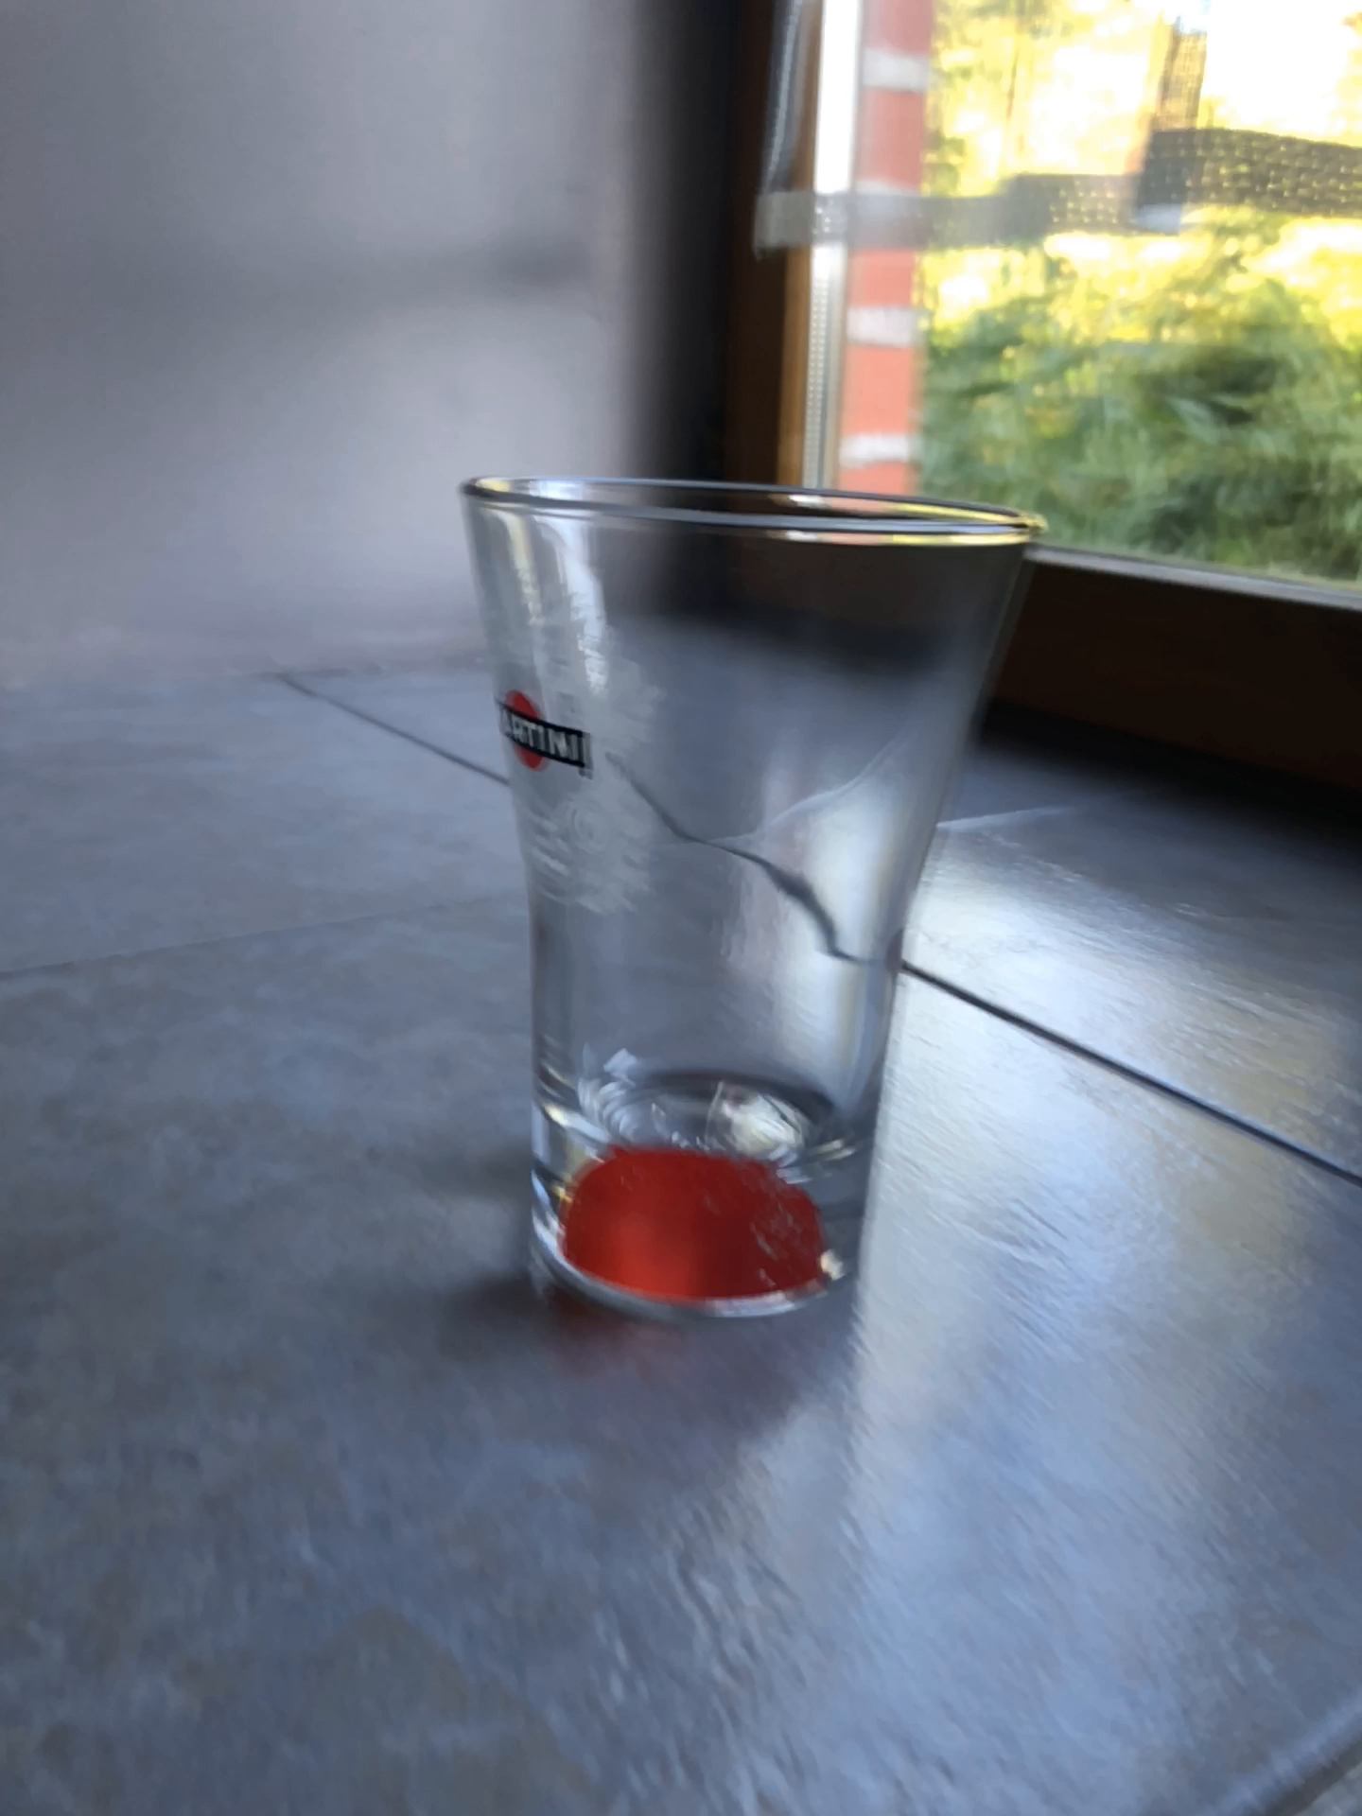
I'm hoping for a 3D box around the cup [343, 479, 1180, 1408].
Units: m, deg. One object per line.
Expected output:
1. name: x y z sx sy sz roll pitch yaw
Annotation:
1. cup: 0.005 -0.007 0.249 0.092 0.116 0.096 2 19 -1
